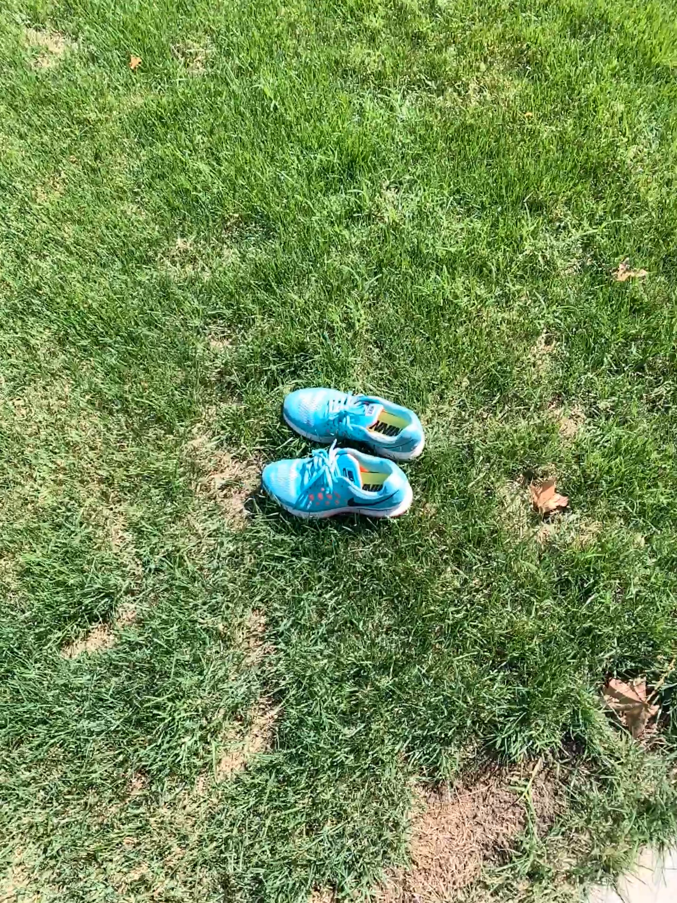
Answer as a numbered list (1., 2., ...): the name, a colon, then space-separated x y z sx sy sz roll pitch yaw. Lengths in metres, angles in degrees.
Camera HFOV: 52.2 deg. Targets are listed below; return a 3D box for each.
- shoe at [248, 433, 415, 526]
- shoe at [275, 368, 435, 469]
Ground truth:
1. shoe: -0.008 0.047 1.149 0.260 0.100 0.110 3 65 4
2. shoe: 0.029 -0.057 1.187 0.250 0.080 0.100 12 66 8
